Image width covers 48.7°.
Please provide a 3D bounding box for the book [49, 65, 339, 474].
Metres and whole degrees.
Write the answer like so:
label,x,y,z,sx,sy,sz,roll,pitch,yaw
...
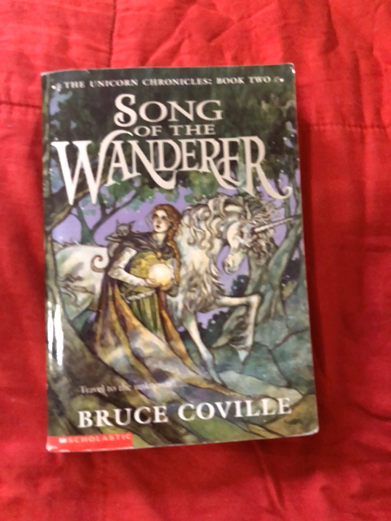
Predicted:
label,x,y,z,sx,sy,sz,roll,pitch,yaw
book,-0.003,0.001,0.222,0.130,0.030,0.190,-3,86,-1
